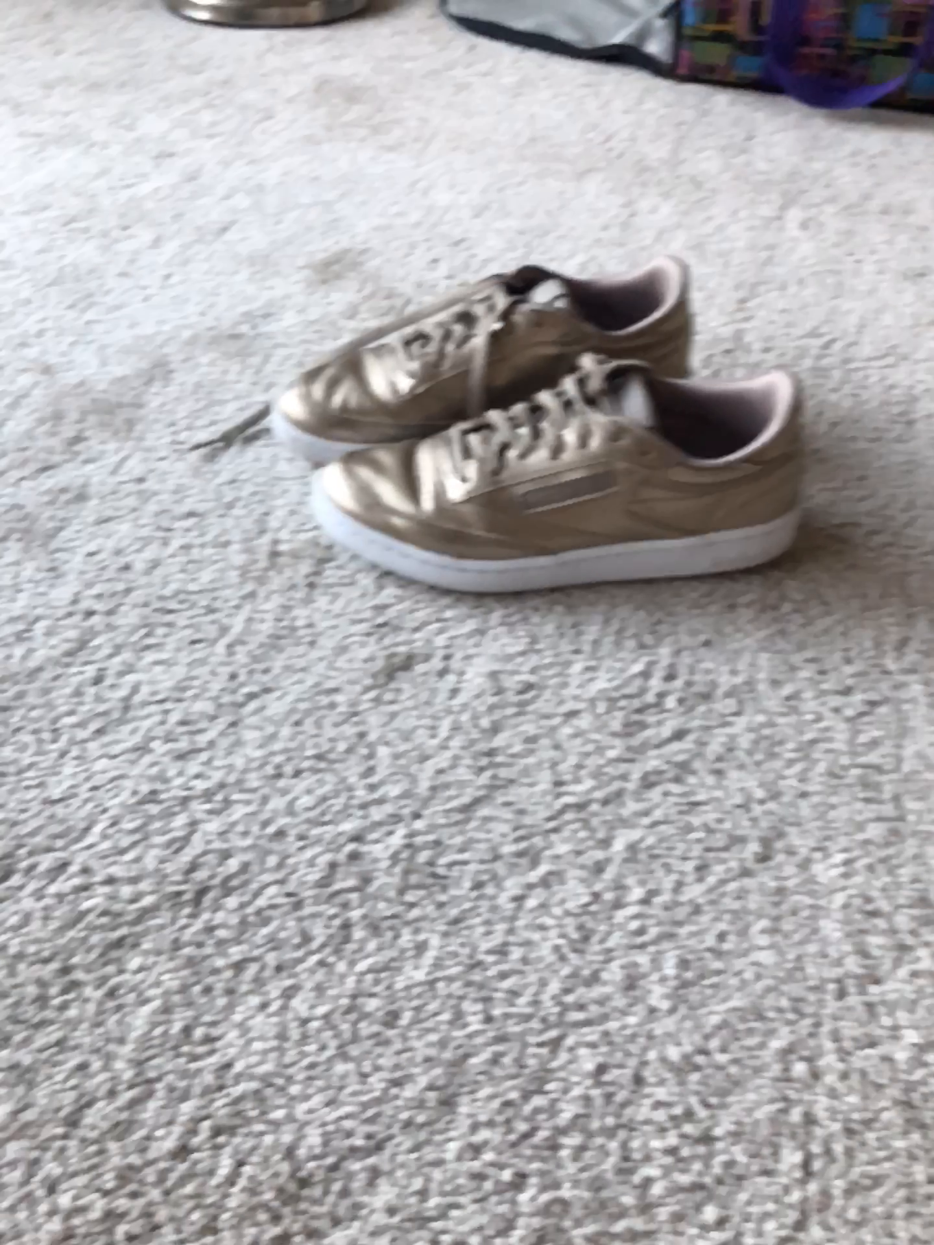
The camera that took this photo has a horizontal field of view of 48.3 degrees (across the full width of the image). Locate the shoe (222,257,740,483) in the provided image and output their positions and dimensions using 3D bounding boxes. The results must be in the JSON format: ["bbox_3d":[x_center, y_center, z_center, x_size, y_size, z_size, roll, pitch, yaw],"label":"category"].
[{"bbox_3d":[0.002,-0.154,0.618,0.280,0.070,0.110,-5,44,-9],"label":"shoe"}]

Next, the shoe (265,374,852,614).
[{"bbox_3d":[0.041,-0.072,0.555,0.280,0.070,0.111,-2,44,-5],"label":"shoe"}]
